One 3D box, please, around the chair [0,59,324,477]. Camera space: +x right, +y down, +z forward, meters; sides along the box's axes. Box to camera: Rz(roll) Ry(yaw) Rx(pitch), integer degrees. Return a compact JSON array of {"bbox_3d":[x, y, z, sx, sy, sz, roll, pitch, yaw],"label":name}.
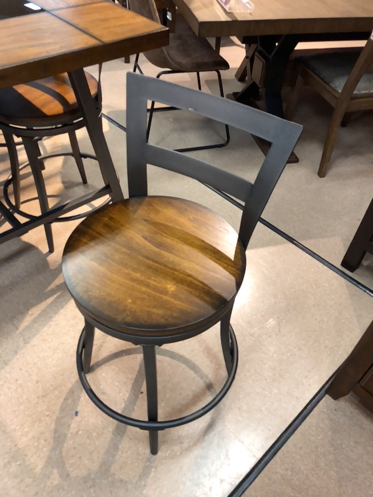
[{"bbox_3d":[-0.090,0.080,0.996,0.491,0.805,0.462,26,49,20],"label":"chair"}]
